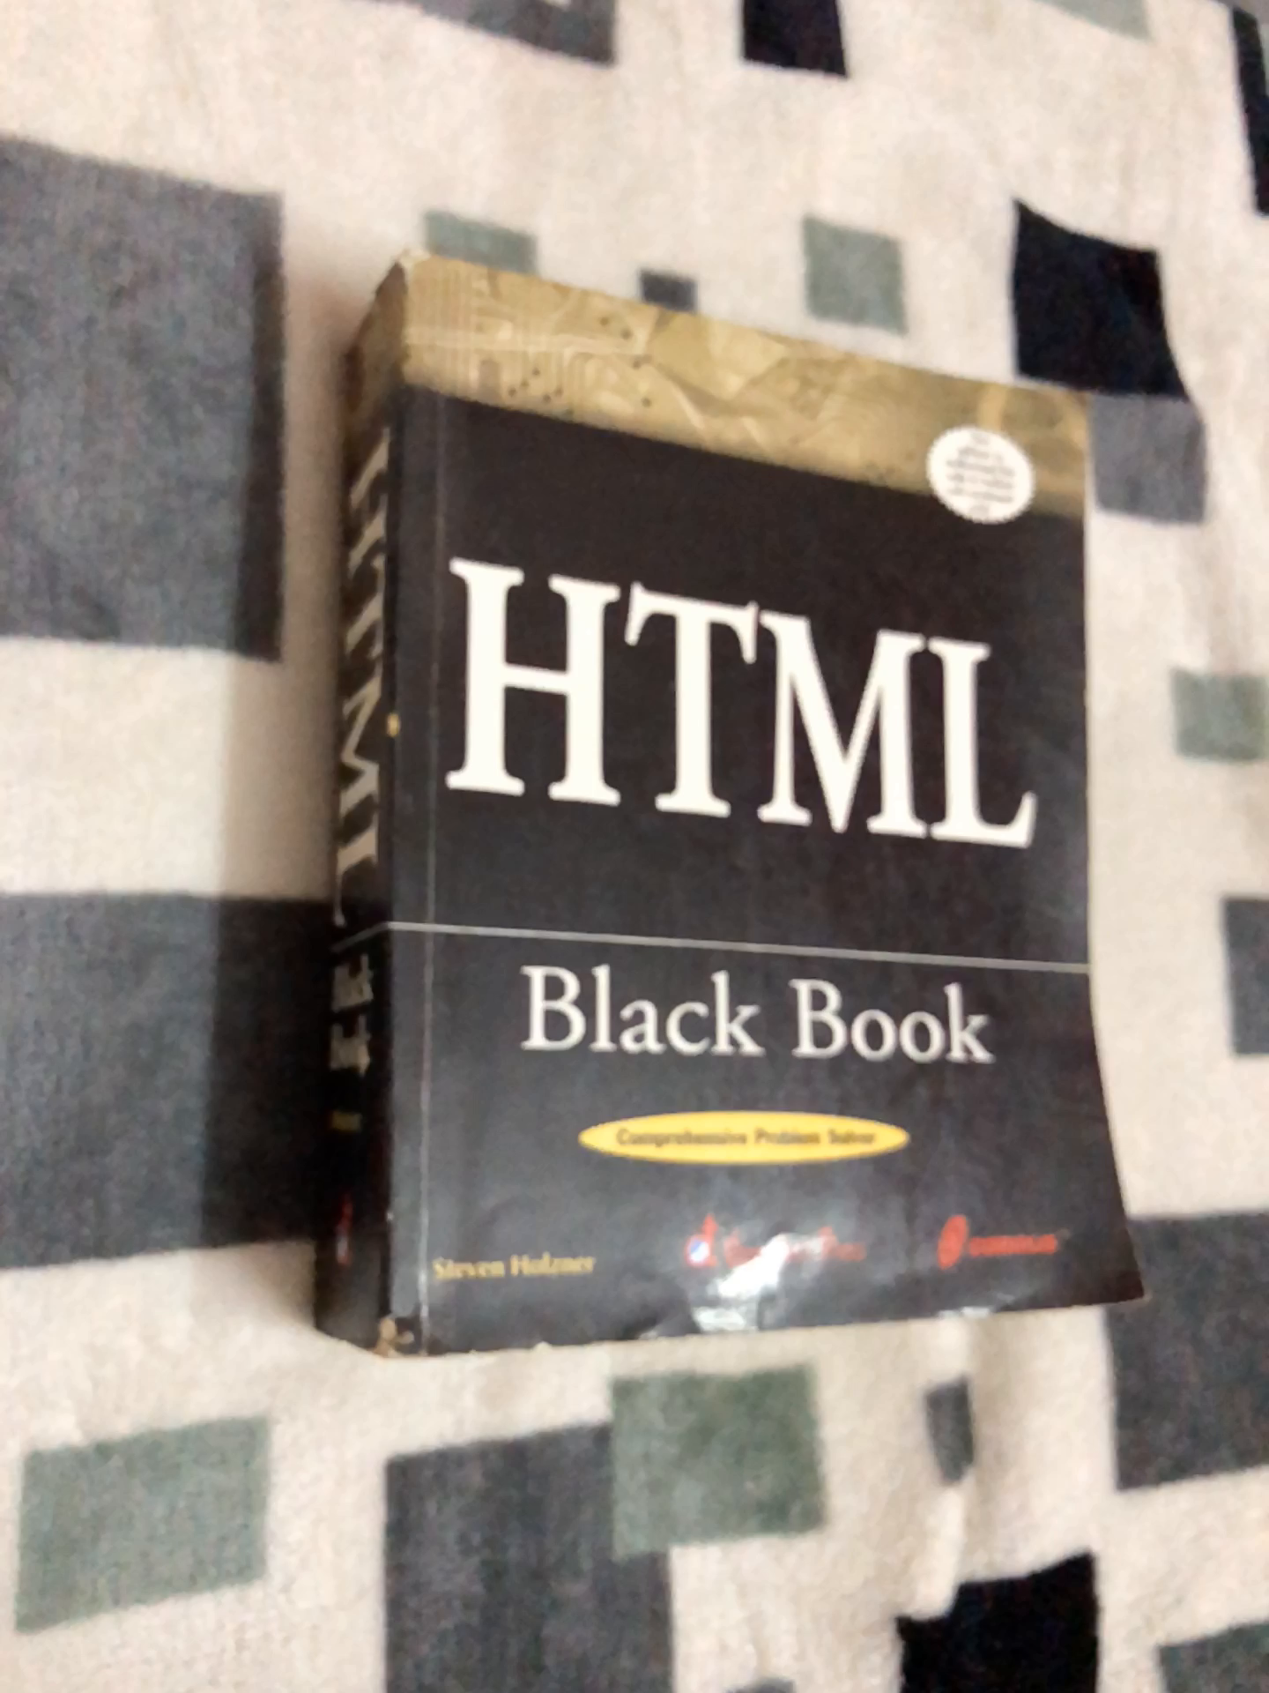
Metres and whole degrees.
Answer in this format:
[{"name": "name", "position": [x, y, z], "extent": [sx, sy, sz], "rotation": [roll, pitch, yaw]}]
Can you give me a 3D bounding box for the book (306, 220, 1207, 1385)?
[{"name": "book", "position": [0.027, -0.005, 0.344], "extent": [0.191, 0.070, 0.230], "rotation": [4, 77, -23]}]
